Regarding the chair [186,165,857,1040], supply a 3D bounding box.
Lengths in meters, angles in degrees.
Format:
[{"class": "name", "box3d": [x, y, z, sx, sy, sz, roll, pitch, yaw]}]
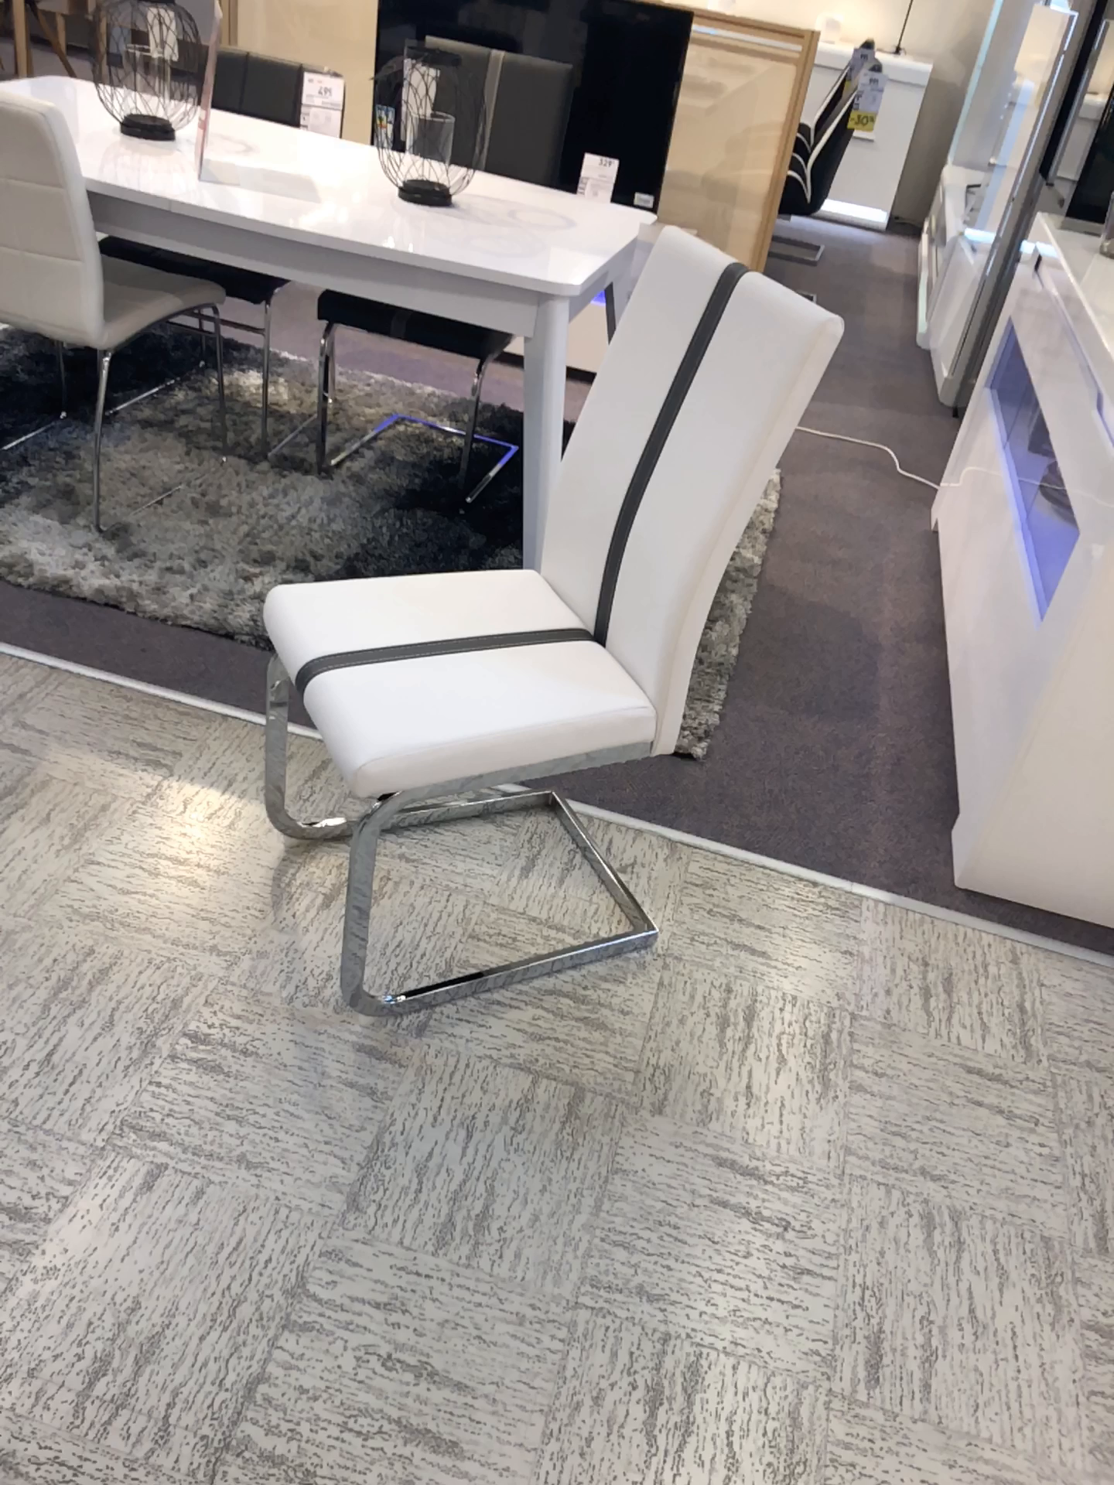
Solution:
[{"class": "chair", "box3d": [-0.120, -0.171, 1.526, 0.571, 0.877, 0.489, -7, 38, -25]}]
